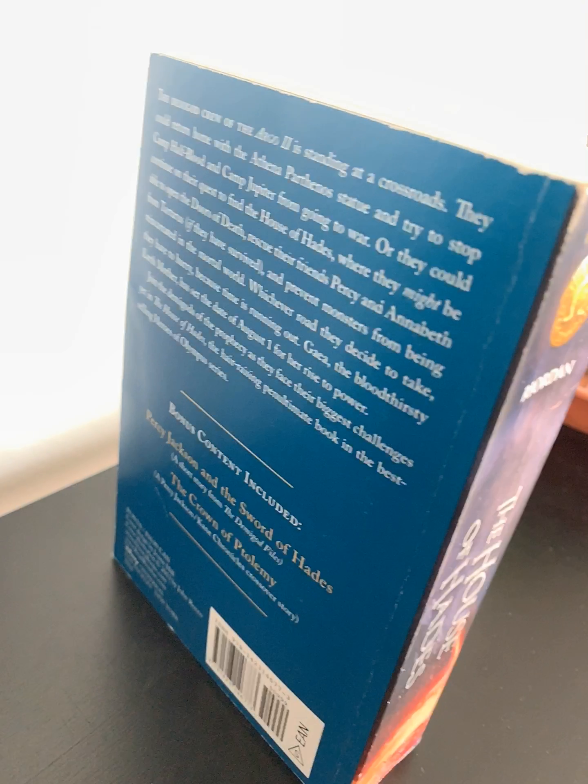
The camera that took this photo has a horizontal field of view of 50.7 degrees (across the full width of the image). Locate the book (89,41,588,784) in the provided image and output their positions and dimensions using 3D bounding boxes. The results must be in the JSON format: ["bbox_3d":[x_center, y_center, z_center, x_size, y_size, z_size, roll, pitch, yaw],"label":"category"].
[{"bbox_3d":[0.010,0.005,0.189,0.077,0.176,0.145,-19,39,-40],"label":"book"}]
